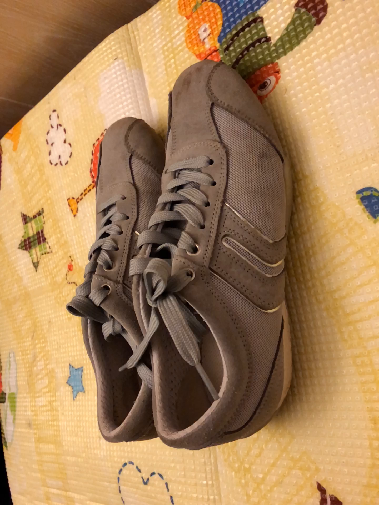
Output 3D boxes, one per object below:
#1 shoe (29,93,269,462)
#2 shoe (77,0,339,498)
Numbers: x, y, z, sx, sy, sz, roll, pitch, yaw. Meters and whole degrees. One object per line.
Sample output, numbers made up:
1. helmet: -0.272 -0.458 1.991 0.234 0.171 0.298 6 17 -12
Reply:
1. shoe: -0.034 0.018 0.328 0.090 0.119 0.230 -20 76 42
2. shoe: 0.013 -0.006 0.259 0.091 0.119 0.230 -7 85 43
